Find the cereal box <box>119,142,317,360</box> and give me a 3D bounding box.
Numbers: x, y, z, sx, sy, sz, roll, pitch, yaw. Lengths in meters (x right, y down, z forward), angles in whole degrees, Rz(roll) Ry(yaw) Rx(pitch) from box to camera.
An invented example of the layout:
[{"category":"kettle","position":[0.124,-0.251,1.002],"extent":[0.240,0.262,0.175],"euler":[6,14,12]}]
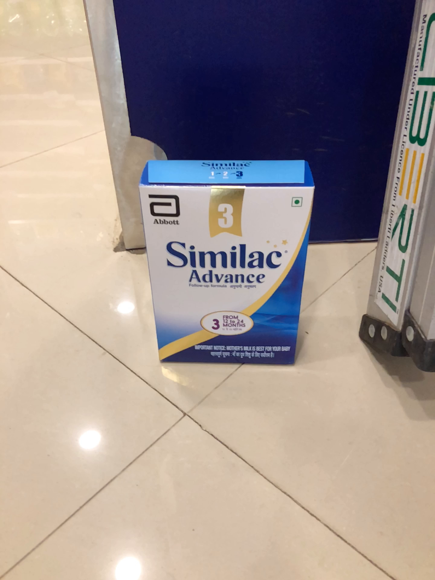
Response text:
[{"category":"cereal box","position":[0.003,-0.025,0.423],"extent":[0.140,0.199,0.050],"euler":[0,40,2]}]
